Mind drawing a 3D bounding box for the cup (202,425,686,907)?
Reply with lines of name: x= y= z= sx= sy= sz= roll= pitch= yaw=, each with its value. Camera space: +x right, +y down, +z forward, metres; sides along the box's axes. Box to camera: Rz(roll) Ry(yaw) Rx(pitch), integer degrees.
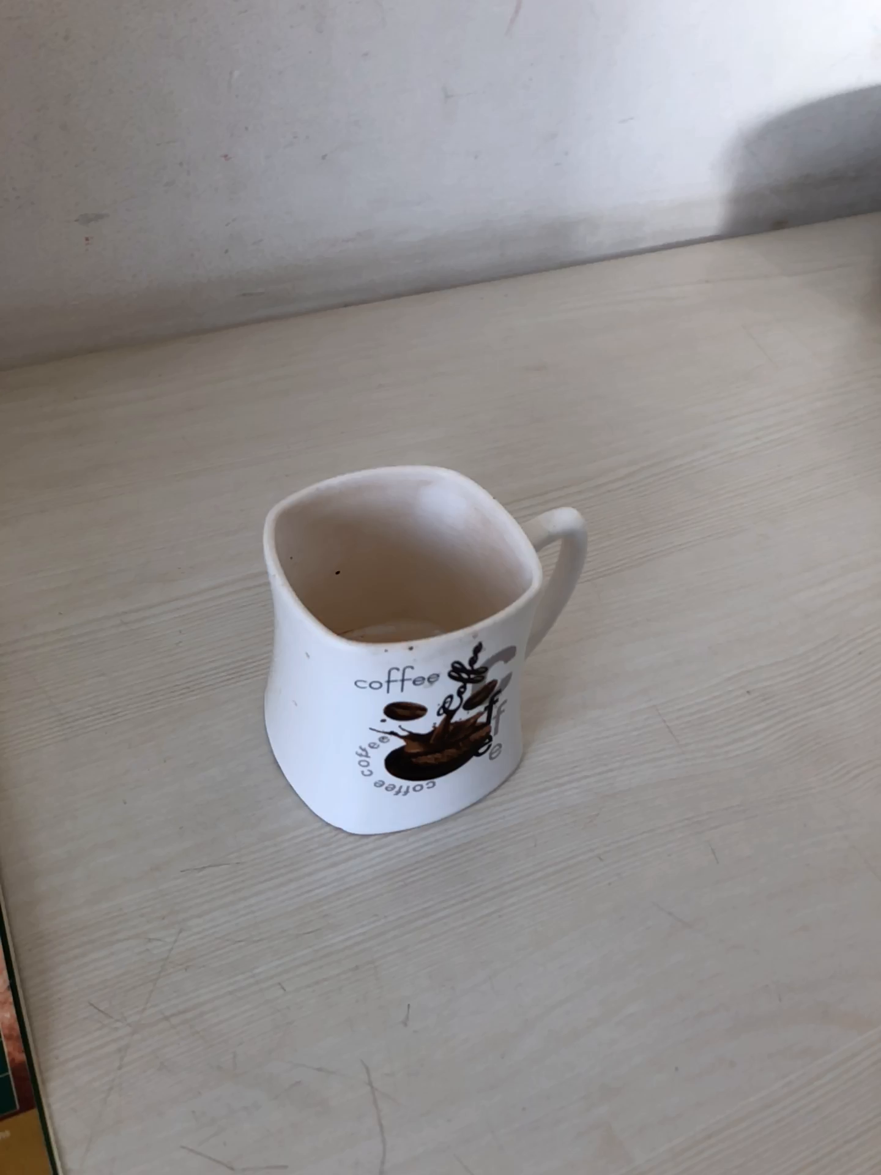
cup: x=-0.002 y=0.017 z=0.250 sx=0.090 sy=0.070 sz=0.070 roll=-19 pitch=48 yaw=-22
